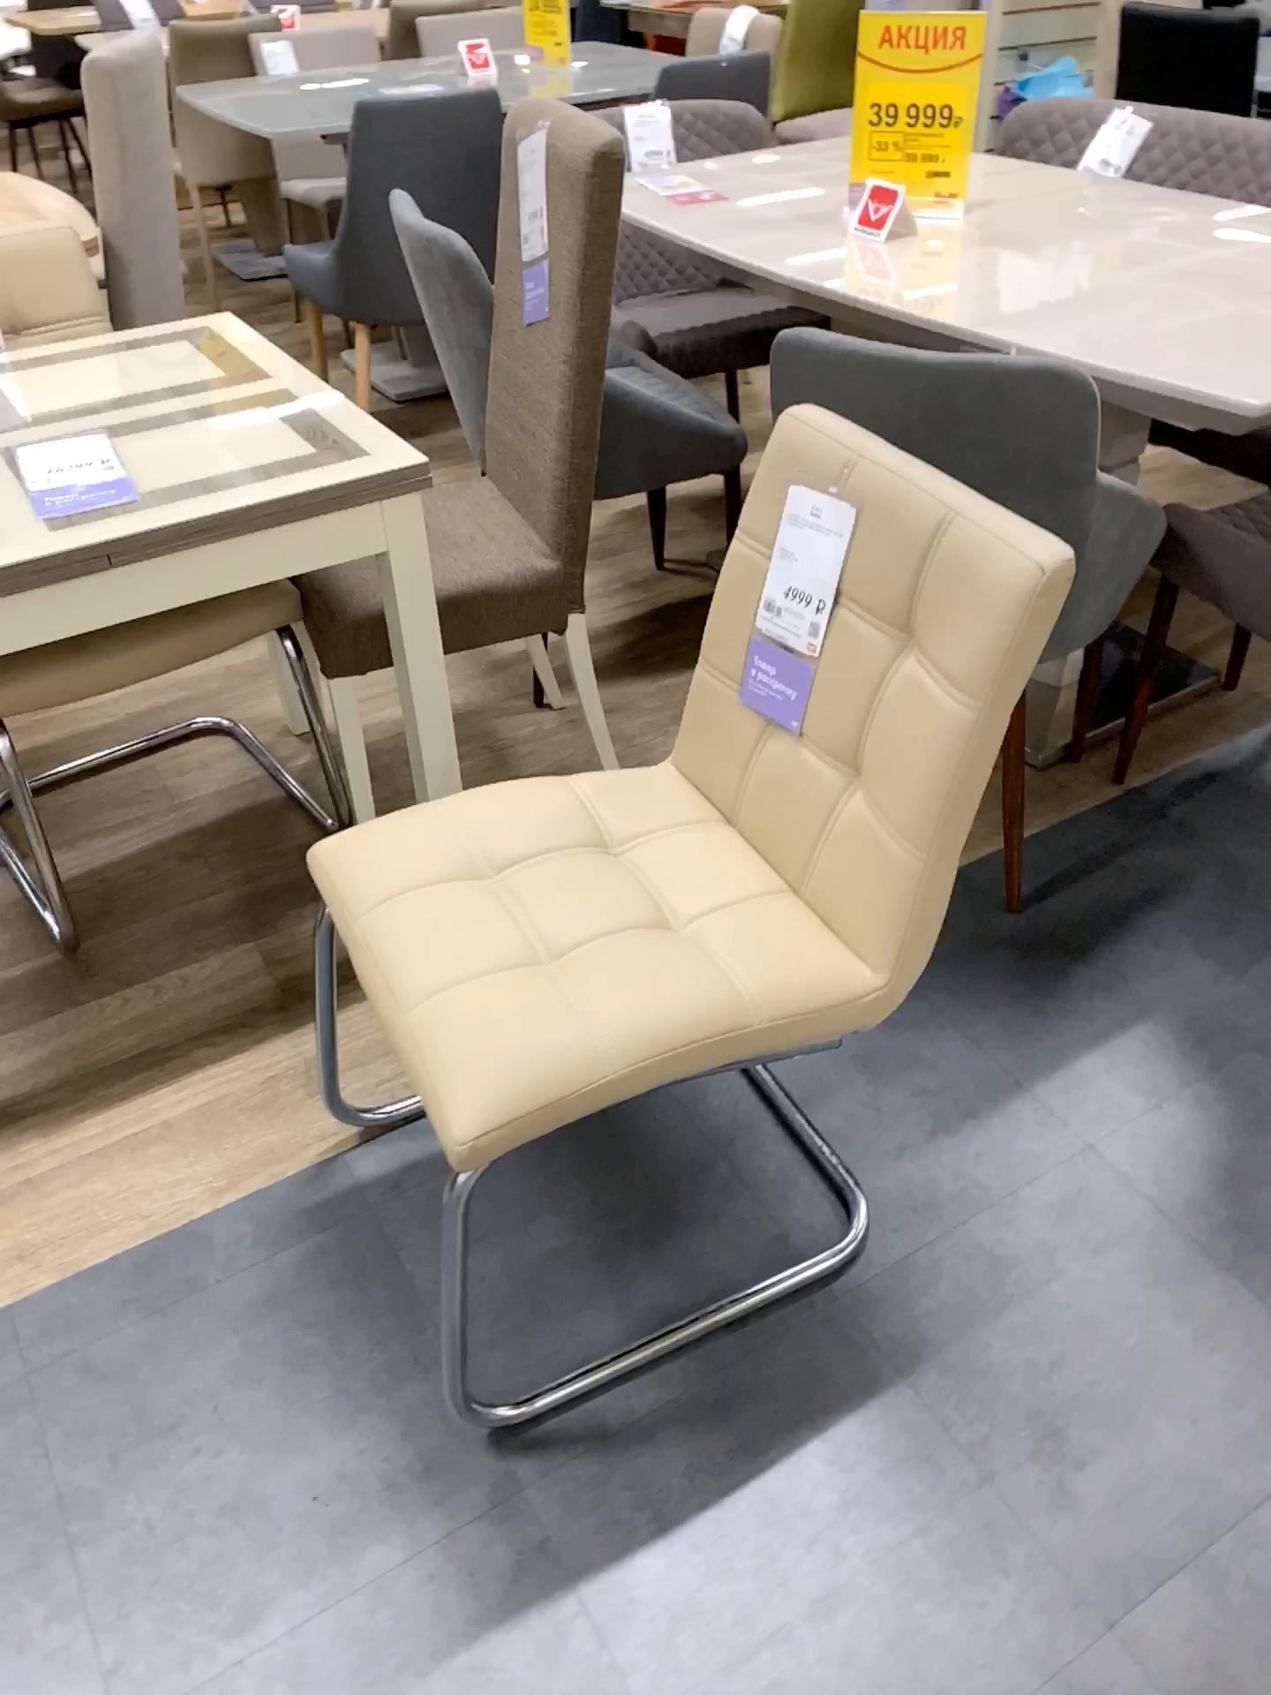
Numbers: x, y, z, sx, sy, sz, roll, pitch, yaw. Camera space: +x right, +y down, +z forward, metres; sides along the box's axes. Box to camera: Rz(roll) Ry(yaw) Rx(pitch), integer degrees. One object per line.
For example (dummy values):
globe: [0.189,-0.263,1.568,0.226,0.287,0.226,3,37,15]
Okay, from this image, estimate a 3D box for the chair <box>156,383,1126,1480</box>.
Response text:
chair: [-0.015,0.060,1.339,0.651,0.815,0.532,-17,39,-20]
